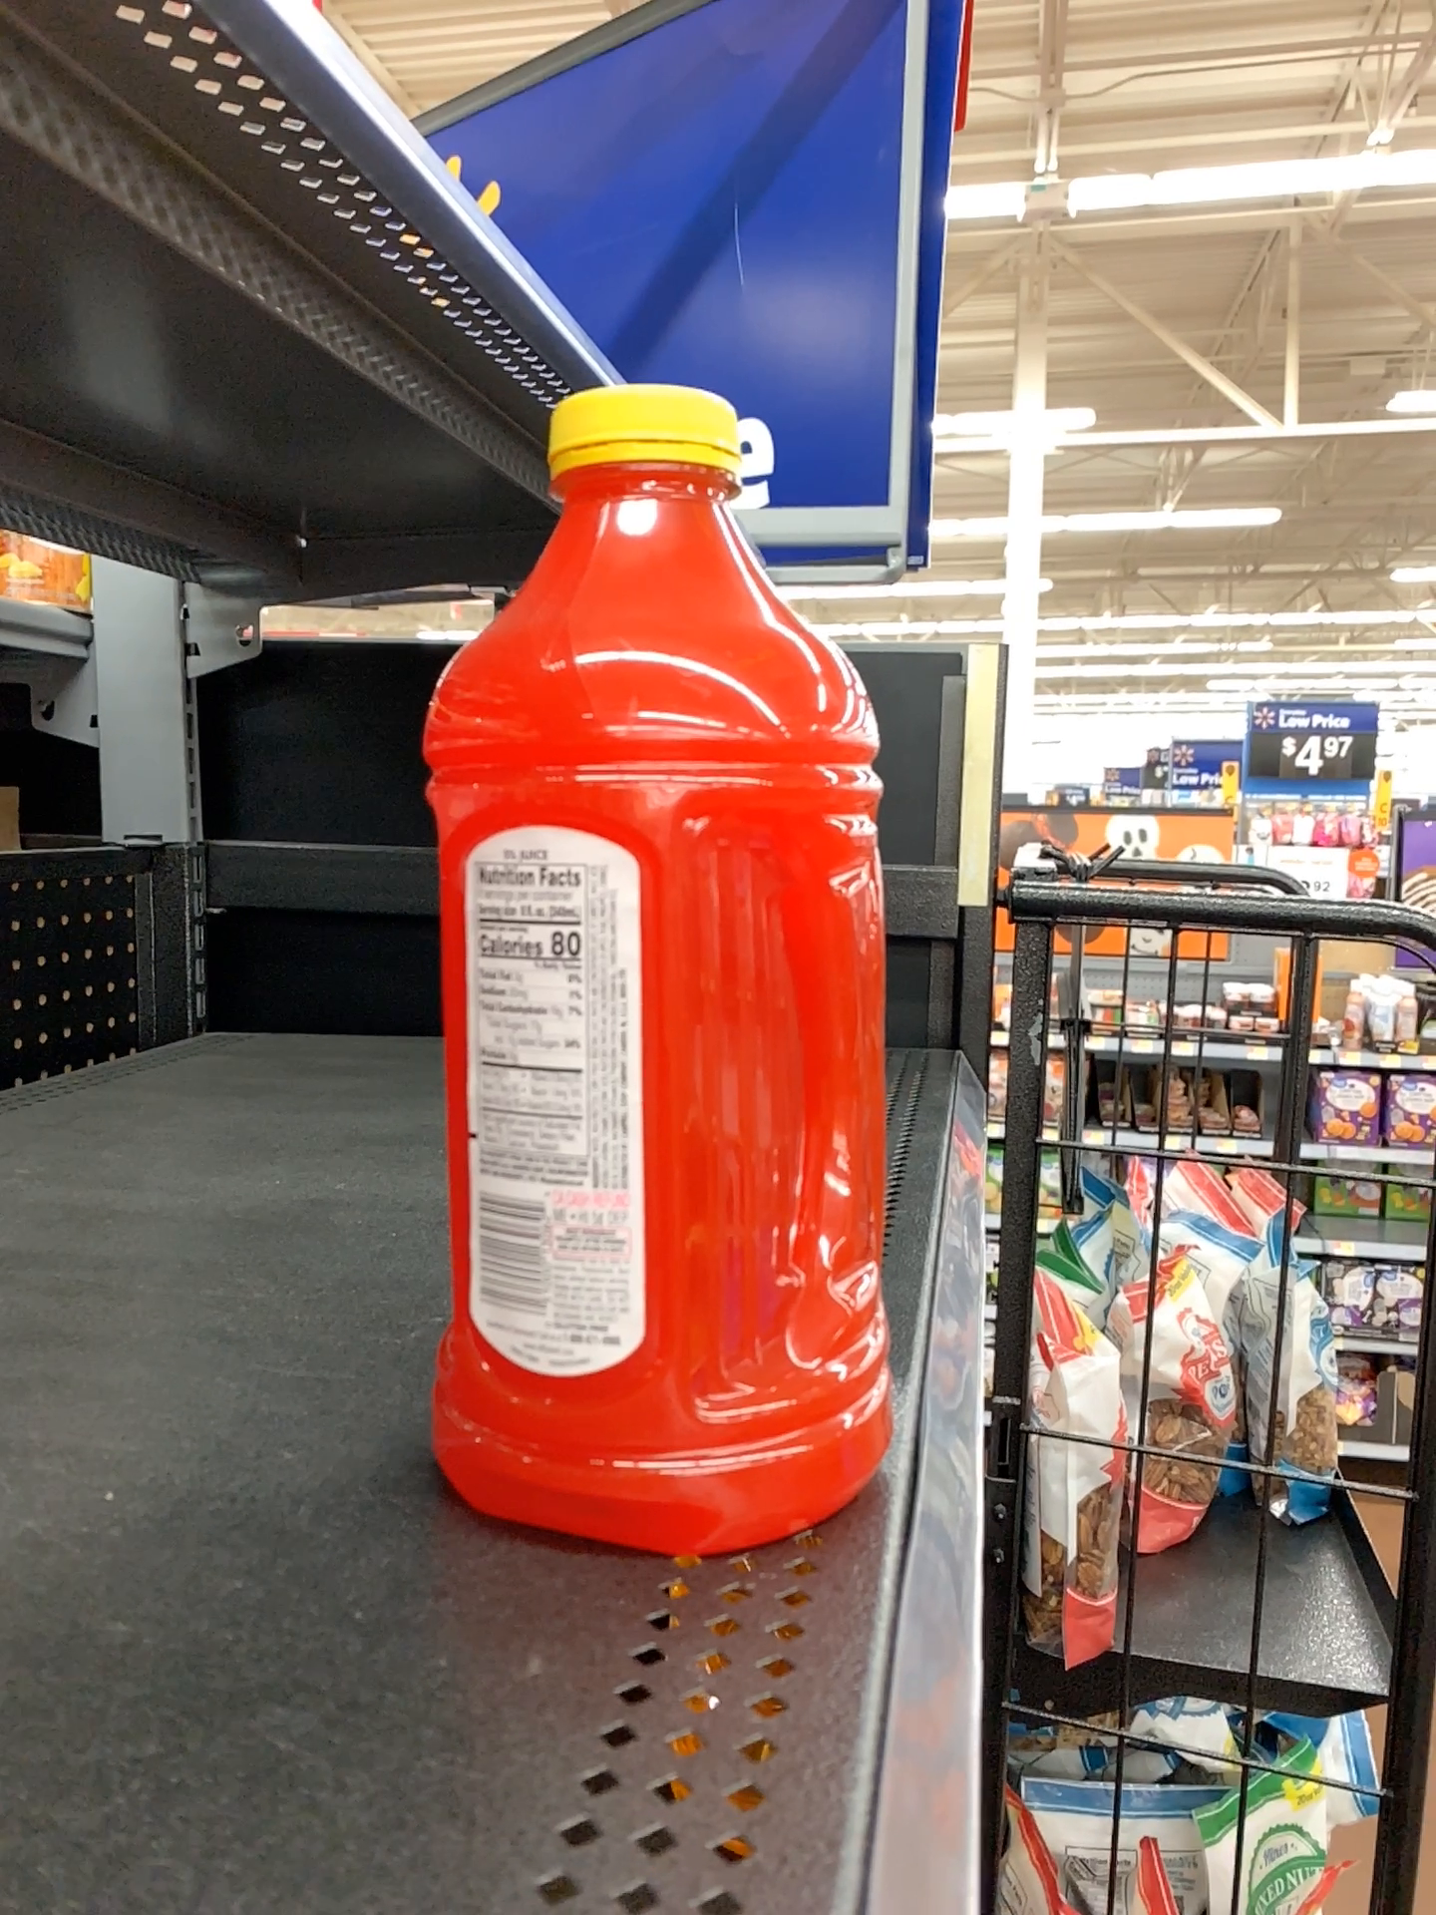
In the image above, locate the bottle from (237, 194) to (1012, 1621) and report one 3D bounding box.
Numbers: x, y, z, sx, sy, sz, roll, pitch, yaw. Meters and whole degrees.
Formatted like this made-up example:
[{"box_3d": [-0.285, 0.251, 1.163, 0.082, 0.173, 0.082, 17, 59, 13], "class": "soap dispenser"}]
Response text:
[{"box_3d": [-0.018, -0.013, 0.357, 0.140, 0.265, 0.122, 4, 6, 25], "class": "bottle"}]
